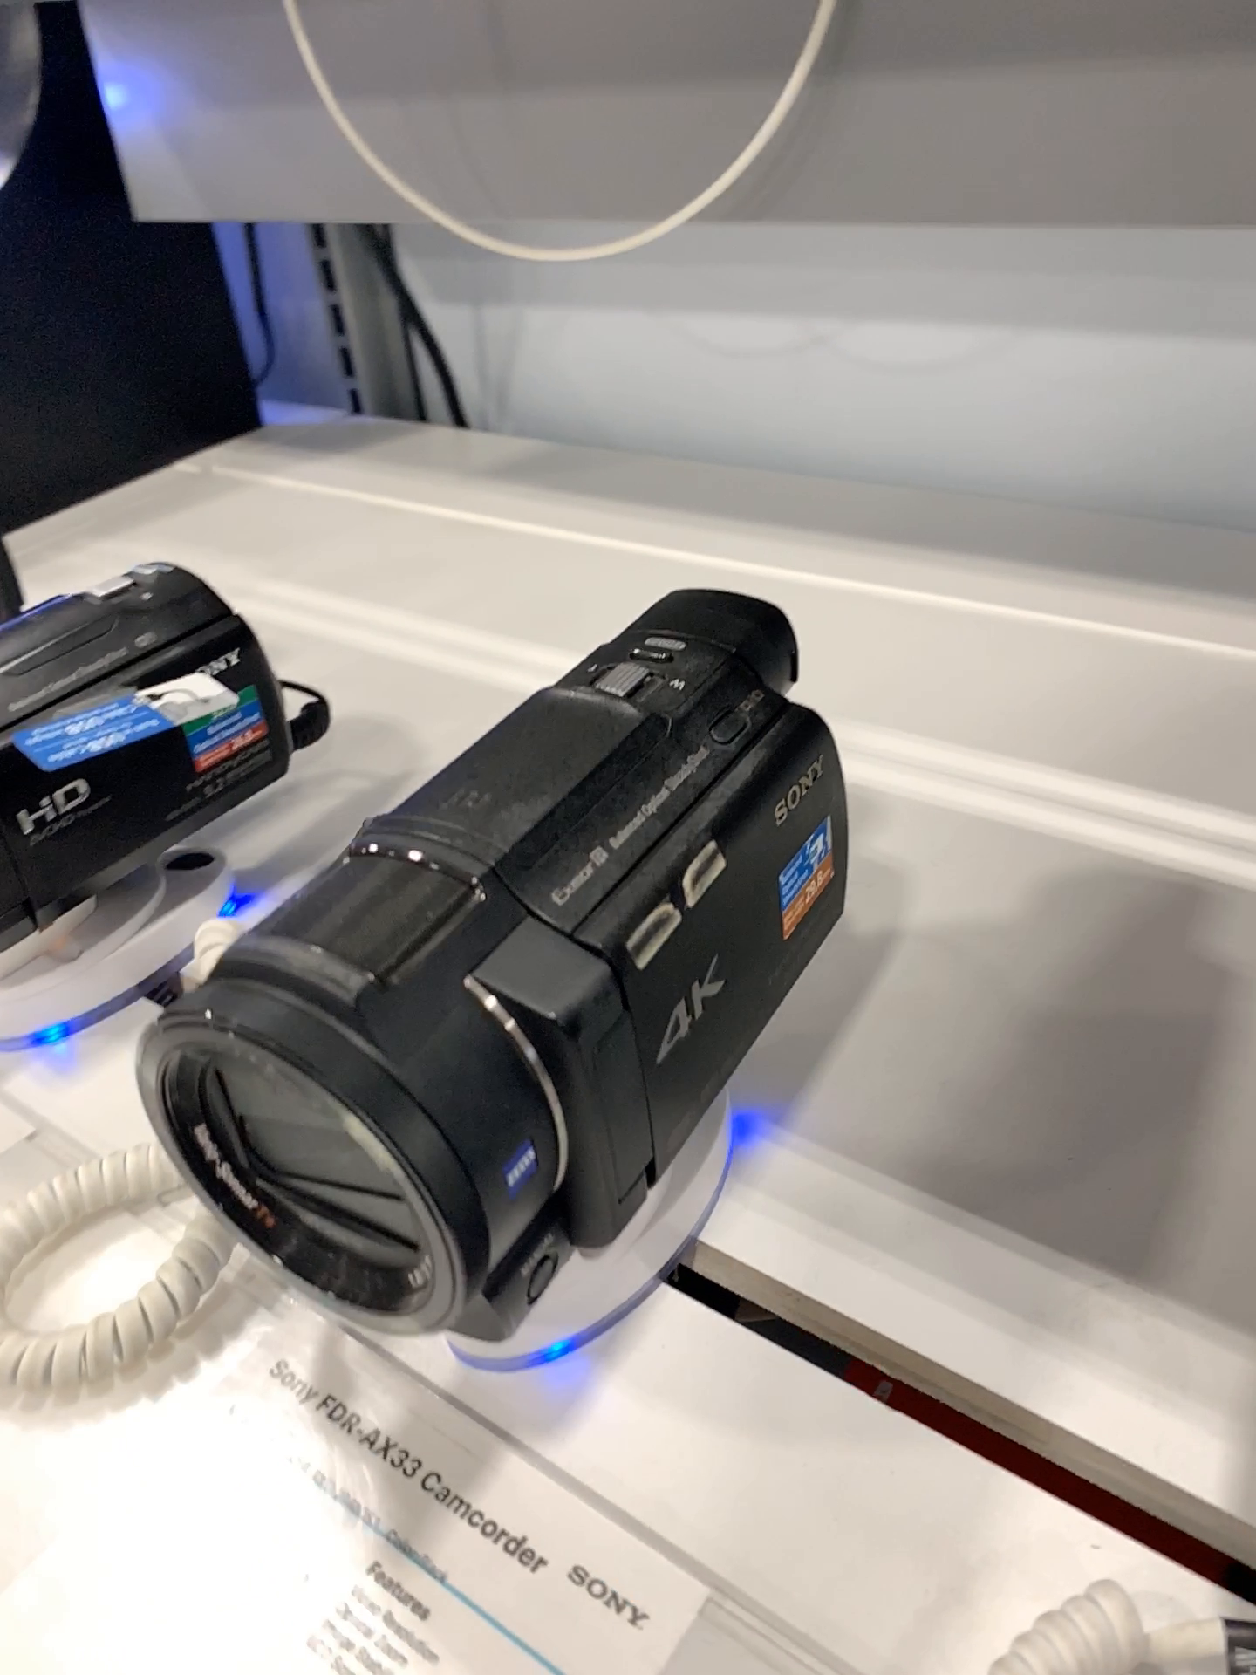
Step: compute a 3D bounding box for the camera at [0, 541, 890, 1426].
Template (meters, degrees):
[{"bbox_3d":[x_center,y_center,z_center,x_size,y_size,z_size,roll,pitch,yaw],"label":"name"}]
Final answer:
[{"bbox_3d":[-0.027,0.009,0.239,0.103,0.067,0.136,15,40,29],"label":"camera"}]
